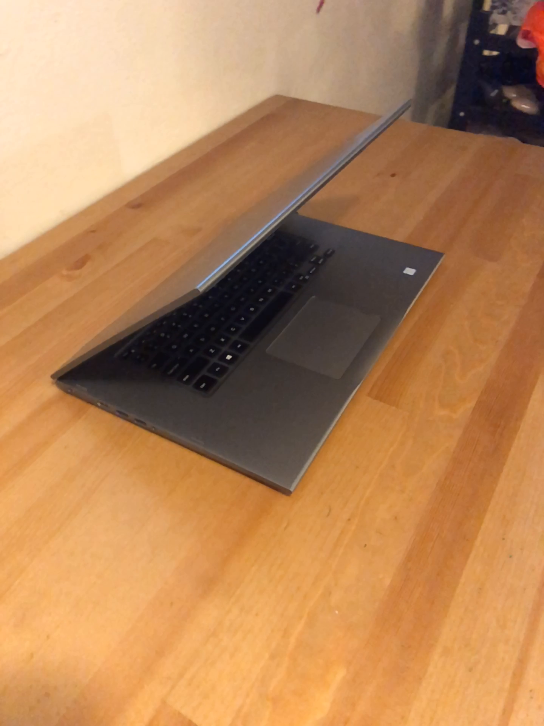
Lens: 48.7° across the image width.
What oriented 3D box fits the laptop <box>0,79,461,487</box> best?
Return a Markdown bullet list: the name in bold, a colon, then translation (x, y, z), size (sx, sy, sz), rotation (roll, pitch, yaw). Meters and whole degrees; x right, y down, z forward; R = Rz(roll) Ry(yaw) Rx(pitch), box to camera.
- **laptop**: translation (-0.008, -0.116, 0.587), size (0.246, 0.165, 0.377), rotation (21, 47, 22)
